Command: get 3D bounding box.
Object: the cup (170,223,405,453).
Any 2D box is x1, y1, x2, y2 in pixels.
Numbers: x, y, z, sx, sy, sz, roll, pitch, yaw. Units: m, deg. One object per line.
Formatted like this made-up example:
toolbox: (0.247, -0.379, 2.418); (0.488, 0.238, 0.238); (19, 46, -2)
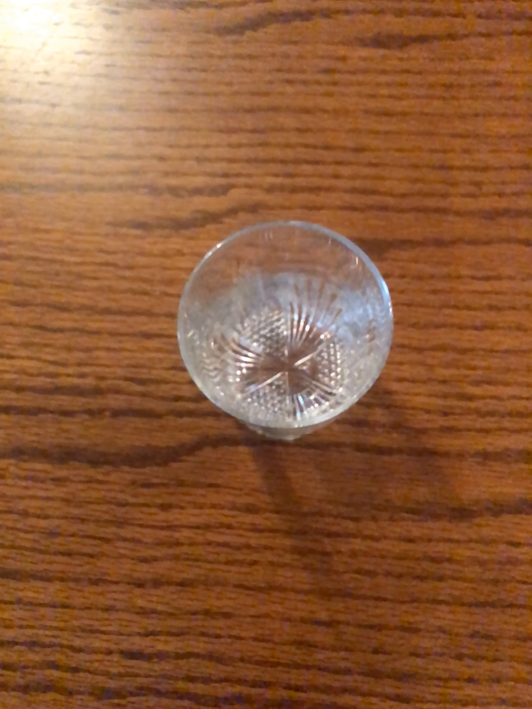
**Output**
cup: (0.009, -0.001, 0.264); (0.084, 0.084, 0.080); (-1, 77, 3)
